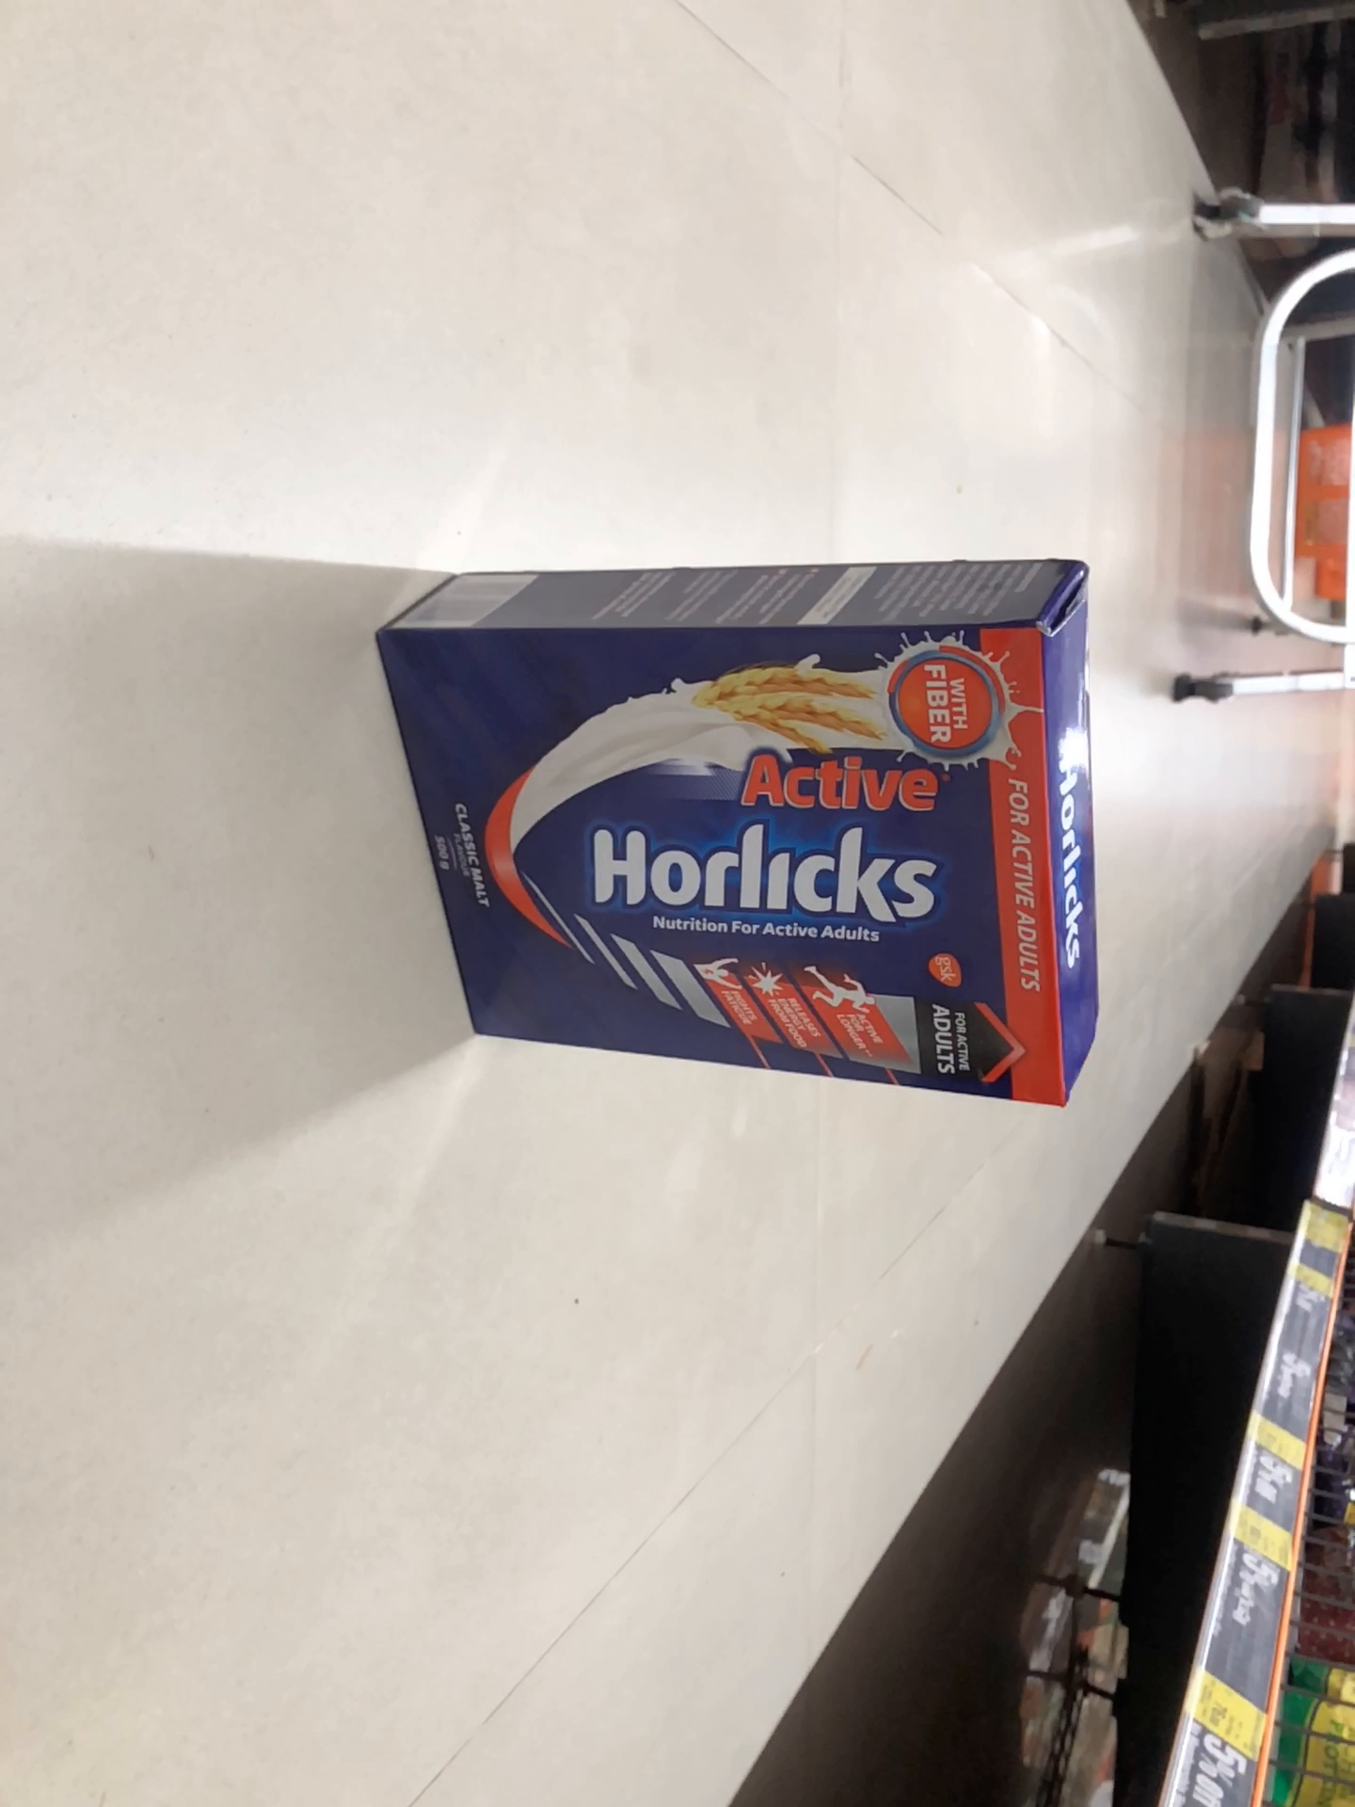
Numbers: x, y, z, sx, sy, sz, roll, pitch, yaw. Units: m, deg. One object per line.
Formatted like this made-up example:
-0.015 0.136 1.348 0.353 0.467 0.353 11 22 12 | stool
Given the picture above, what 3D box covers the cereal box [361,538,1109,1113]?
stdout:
0.020 -0.024 0.424 0.050 0.189 0.140 -51 138 -51 | cereal box
